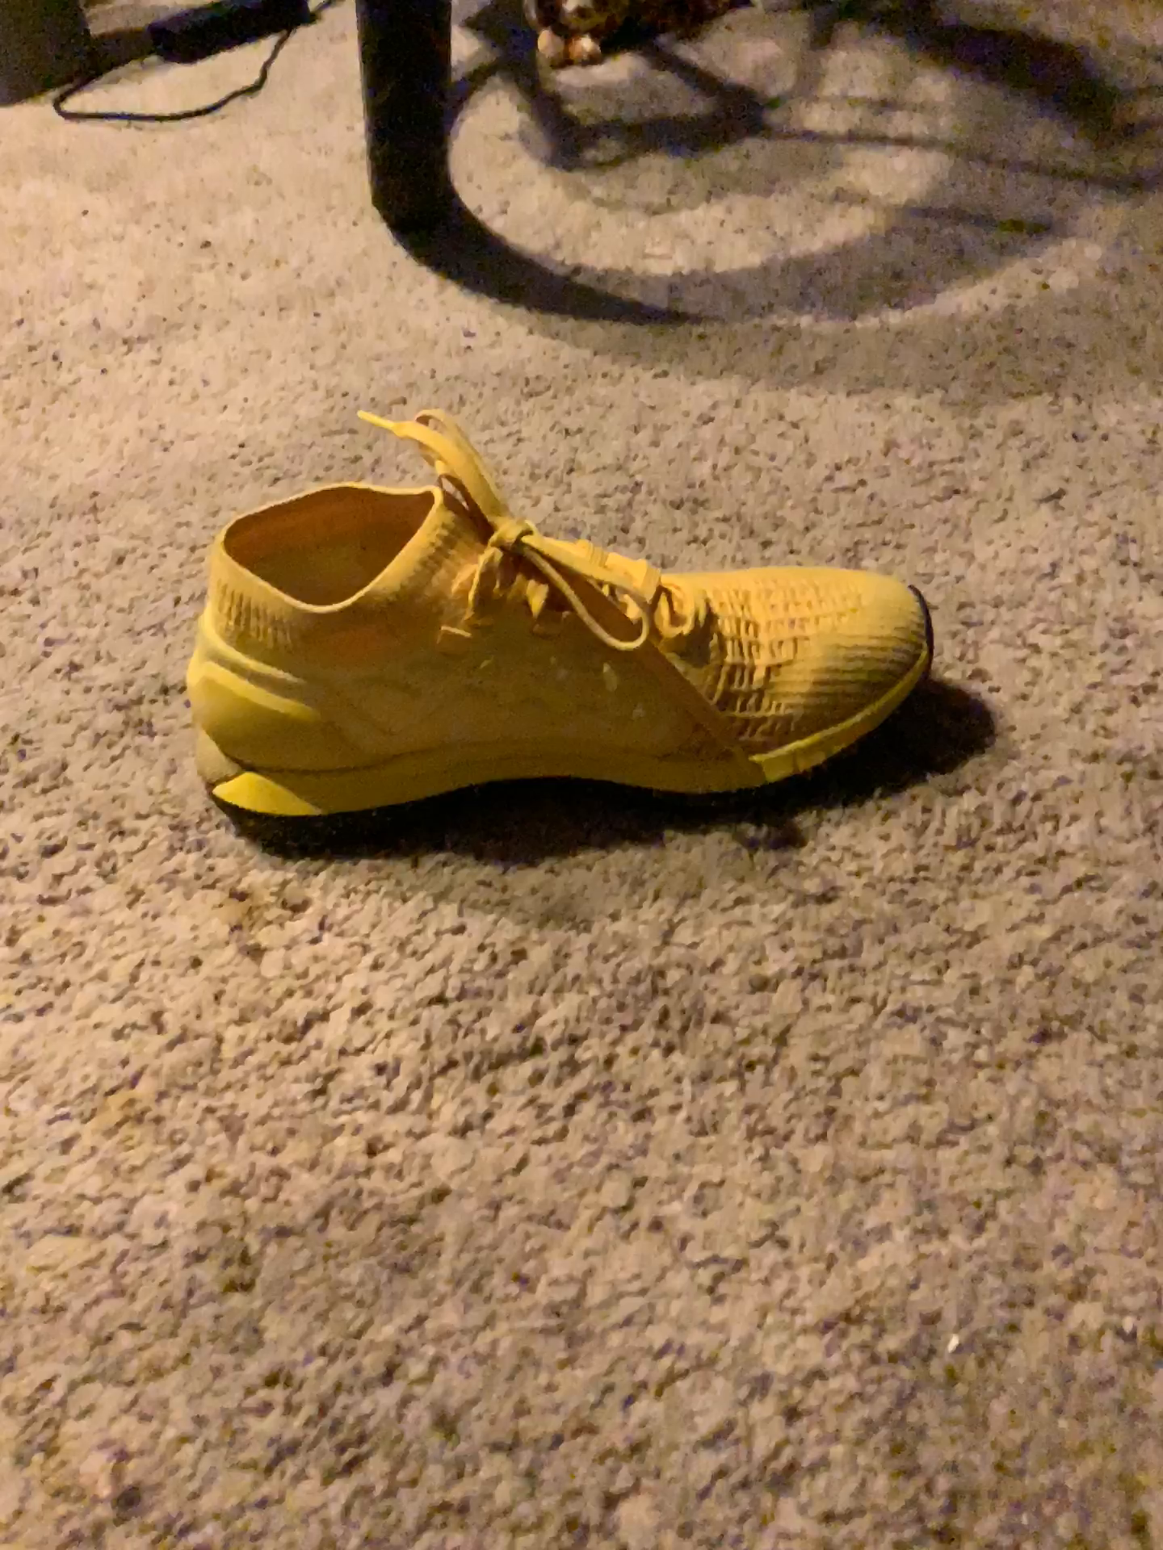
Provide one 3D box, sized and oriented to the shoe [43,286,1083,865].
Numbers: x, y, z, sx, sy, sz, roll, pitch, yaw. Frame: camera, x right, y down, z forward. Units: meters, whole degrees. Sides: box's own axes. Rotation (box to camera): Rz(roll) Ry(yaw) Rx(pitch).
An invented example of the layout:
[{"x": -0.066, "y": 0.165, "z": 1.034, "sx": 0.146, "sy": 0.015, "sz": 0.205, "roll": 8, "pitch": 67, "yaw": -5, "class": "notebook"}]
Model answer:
[{"x": -0.004, "y": -0.074, "z": 0.485, "sx": 0.320, "sy": 0.130, "sz": 0.130, "roll": -6, "pitch": 43, "yaw": 3, "class": "shoe"}]
